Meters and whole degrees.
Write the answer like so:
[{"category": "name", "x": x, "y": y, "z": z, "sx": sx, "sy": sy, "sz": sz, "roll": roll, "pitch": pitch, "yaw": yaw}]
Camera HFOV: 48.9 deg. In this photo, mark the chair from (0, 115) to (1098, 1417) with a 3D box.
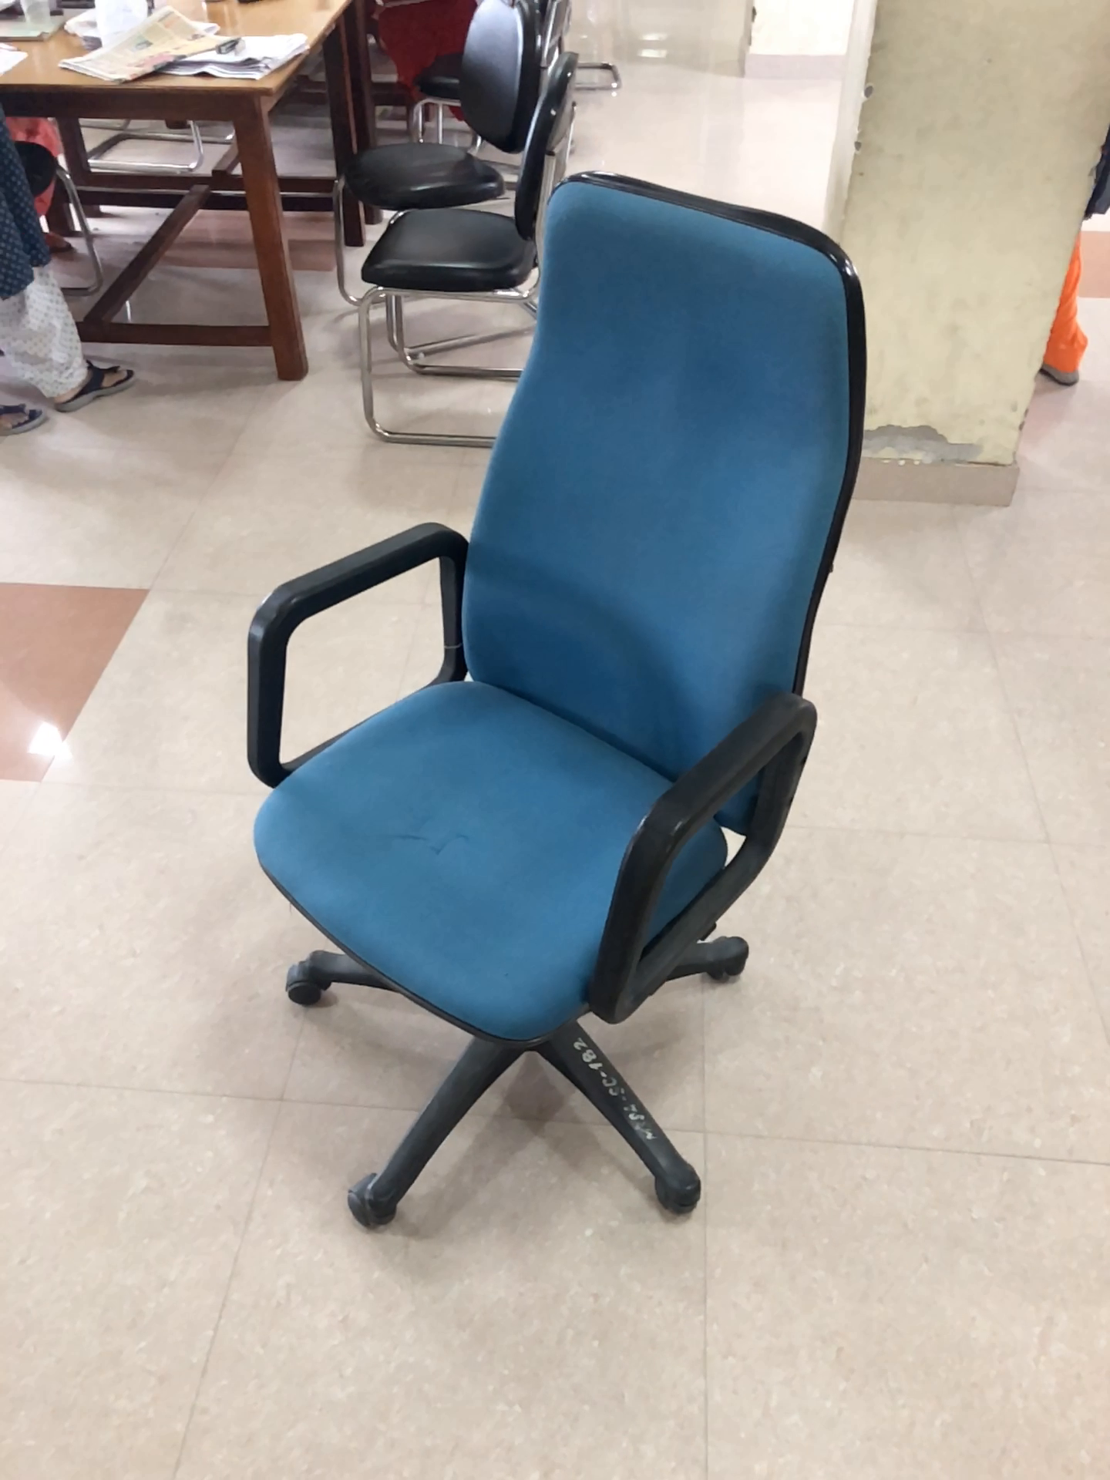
[{"category": "chair", "x": -0.043, "y": 0.010, "z": 1.420, "sx": 0.741, "sy": 1.076, "sz": 0.761, "roll": 31, "pitch": 50, "yaw": 30}]
